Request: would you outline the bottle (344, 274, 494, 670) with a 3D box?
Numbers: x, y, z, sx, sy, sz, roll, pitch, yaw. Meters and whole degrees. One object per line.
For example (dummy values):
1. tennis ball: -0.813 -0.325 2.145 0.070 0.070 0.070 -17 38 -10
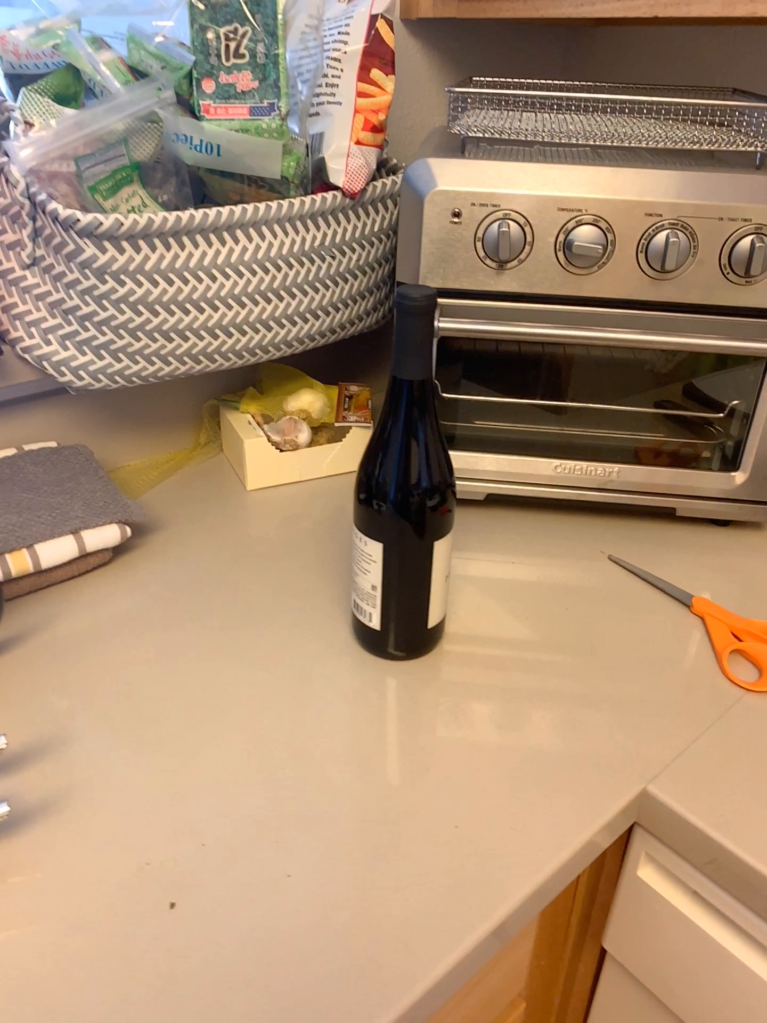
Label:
1. bottle: 0.021 -0.021 0.582 0.090 0.278 0.091 1 31 -1
